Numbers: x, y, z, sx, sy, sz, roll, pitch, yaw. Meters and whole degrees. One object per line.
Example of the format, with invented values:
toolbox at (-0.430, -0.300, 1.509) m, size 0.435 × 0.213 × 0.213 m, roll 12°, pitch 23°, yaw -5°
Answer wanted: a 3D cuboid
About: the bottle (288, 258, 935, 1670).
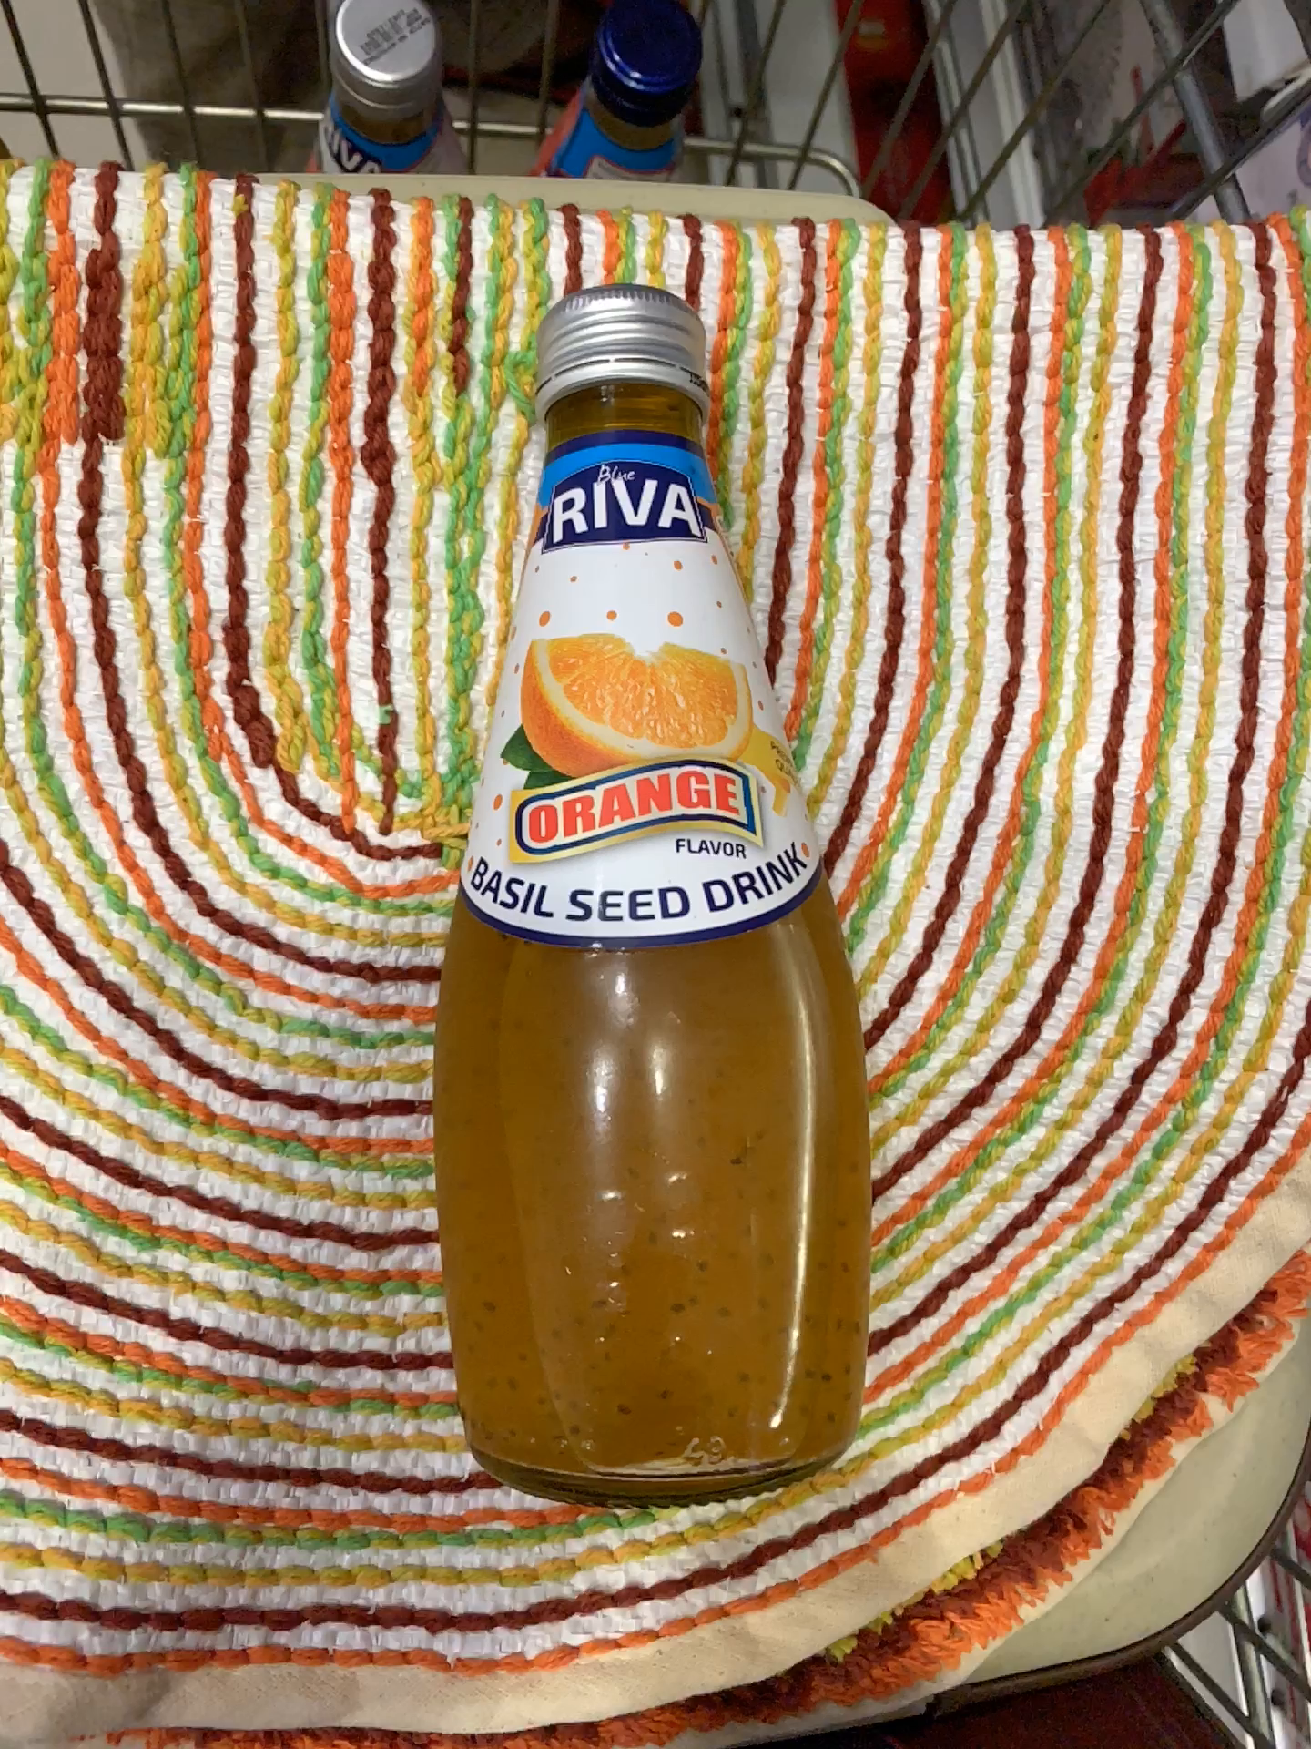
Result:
bottle at (-0.007, 0.011, 0.181) m, size 0.070 × 0.050 × 0.160 m, roll -2°, pitch 98°, yaw -8°
